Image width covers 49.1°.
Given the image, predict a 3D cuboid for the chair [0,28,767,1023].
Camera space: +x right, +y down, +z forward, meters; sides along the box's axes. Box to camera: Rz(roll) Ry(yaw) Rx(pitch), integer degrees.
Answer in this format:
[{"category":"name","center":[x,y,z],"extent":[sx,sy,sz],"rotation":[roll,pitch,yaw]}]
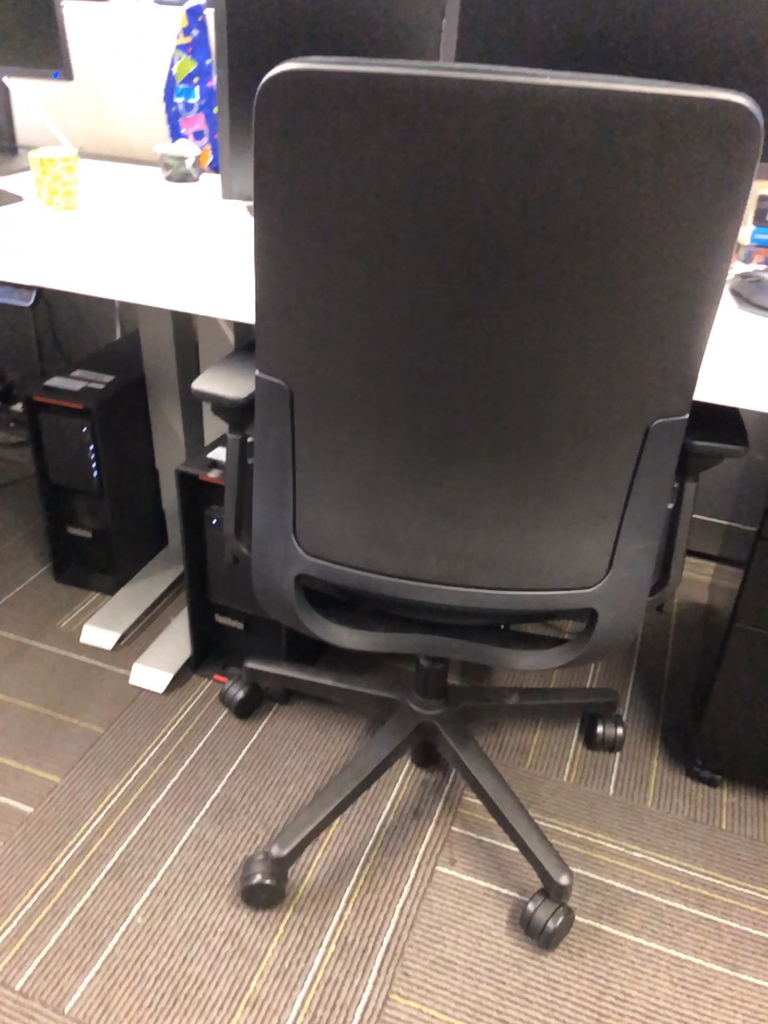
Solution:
[{"category":"chair","center":[0.079,-0.030,1.139],"extent":[0.710,1.044,0.724],"rotation":[8,31,8]}]
